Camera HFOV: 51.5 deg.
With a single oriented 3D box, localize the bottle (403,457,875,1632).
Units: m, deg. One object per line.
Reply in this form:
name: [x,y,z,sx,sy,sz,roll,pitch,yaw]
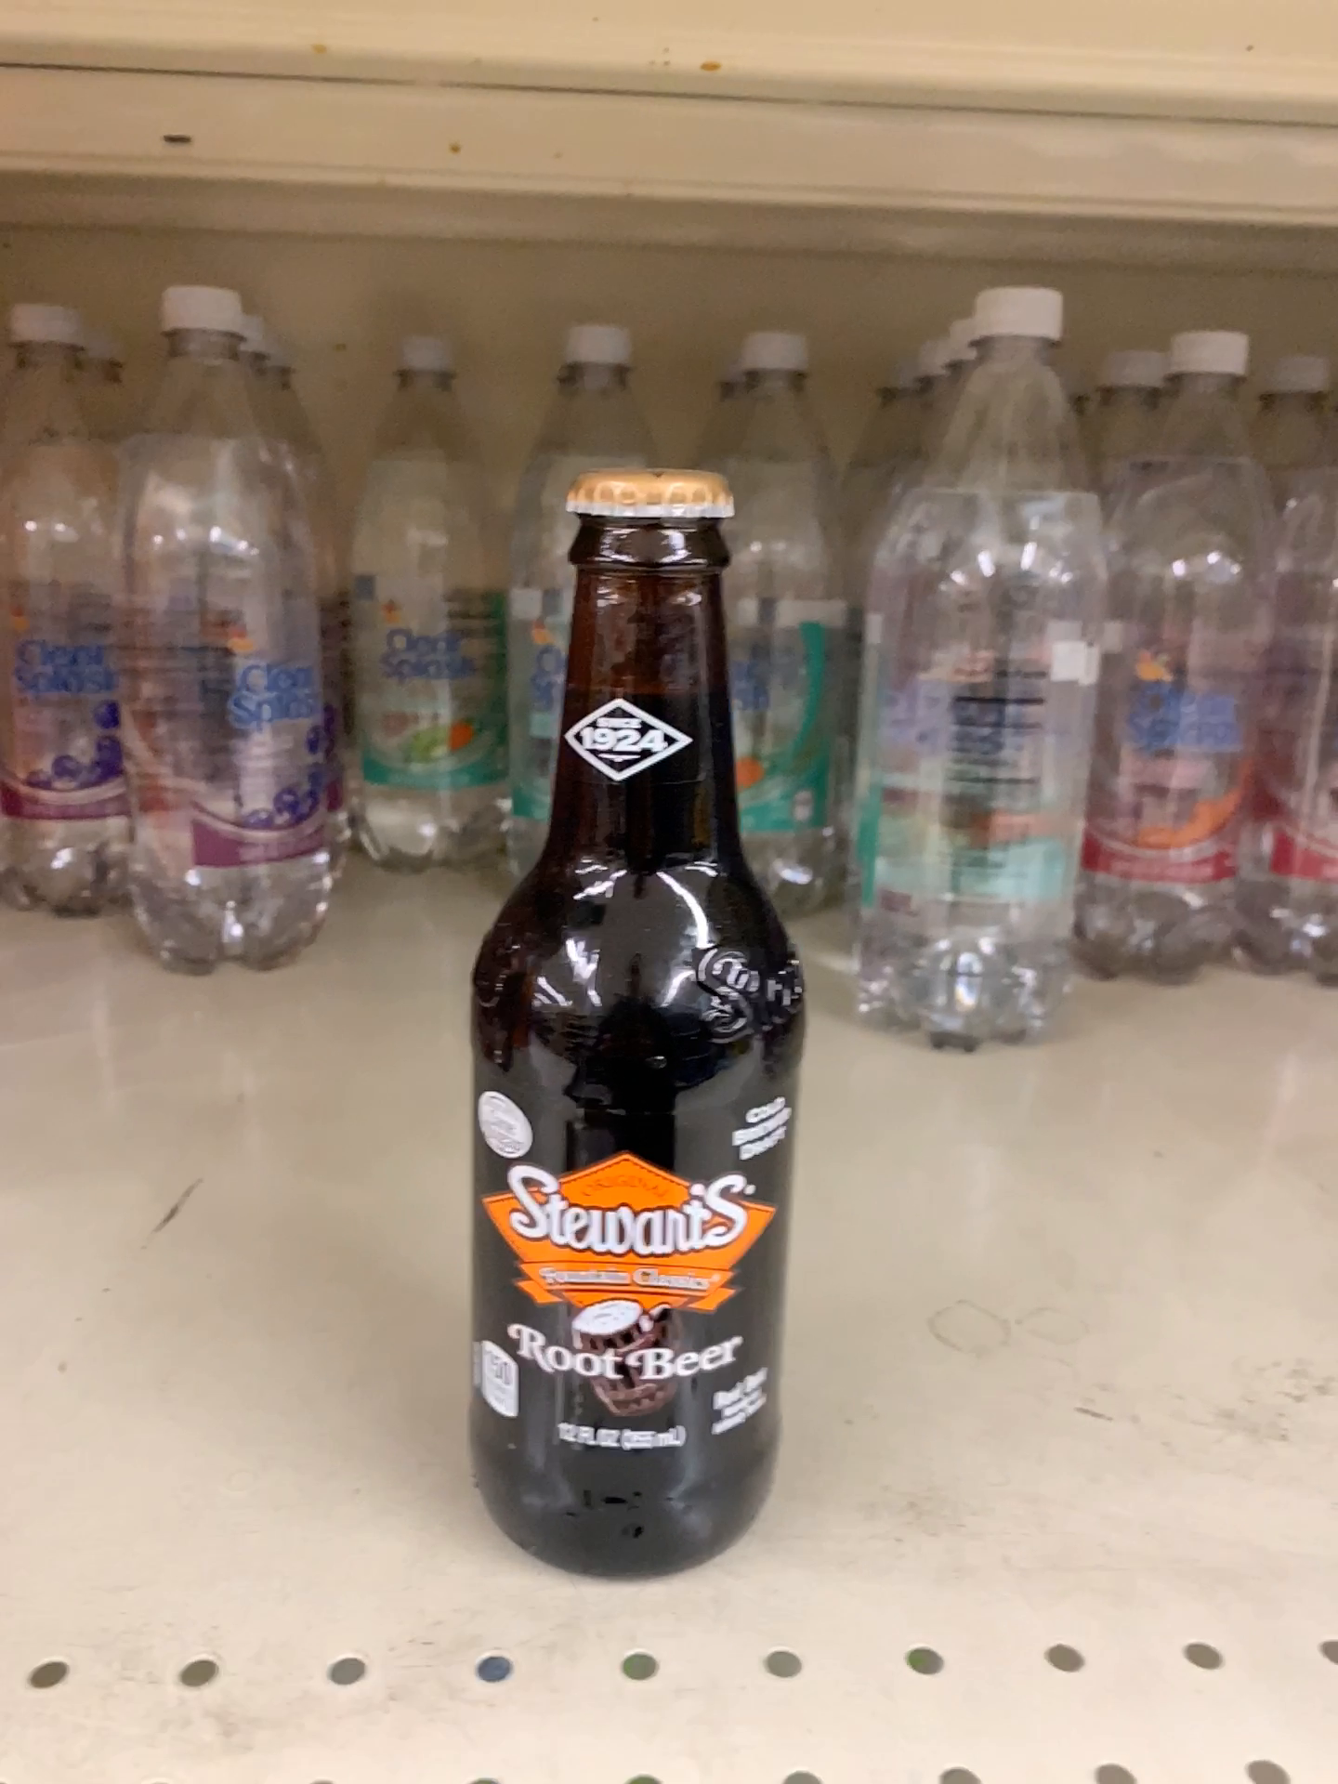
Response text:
bottle: [-0.005,0.028,0.262,0.070,0.208,0.060,3,16,5]
